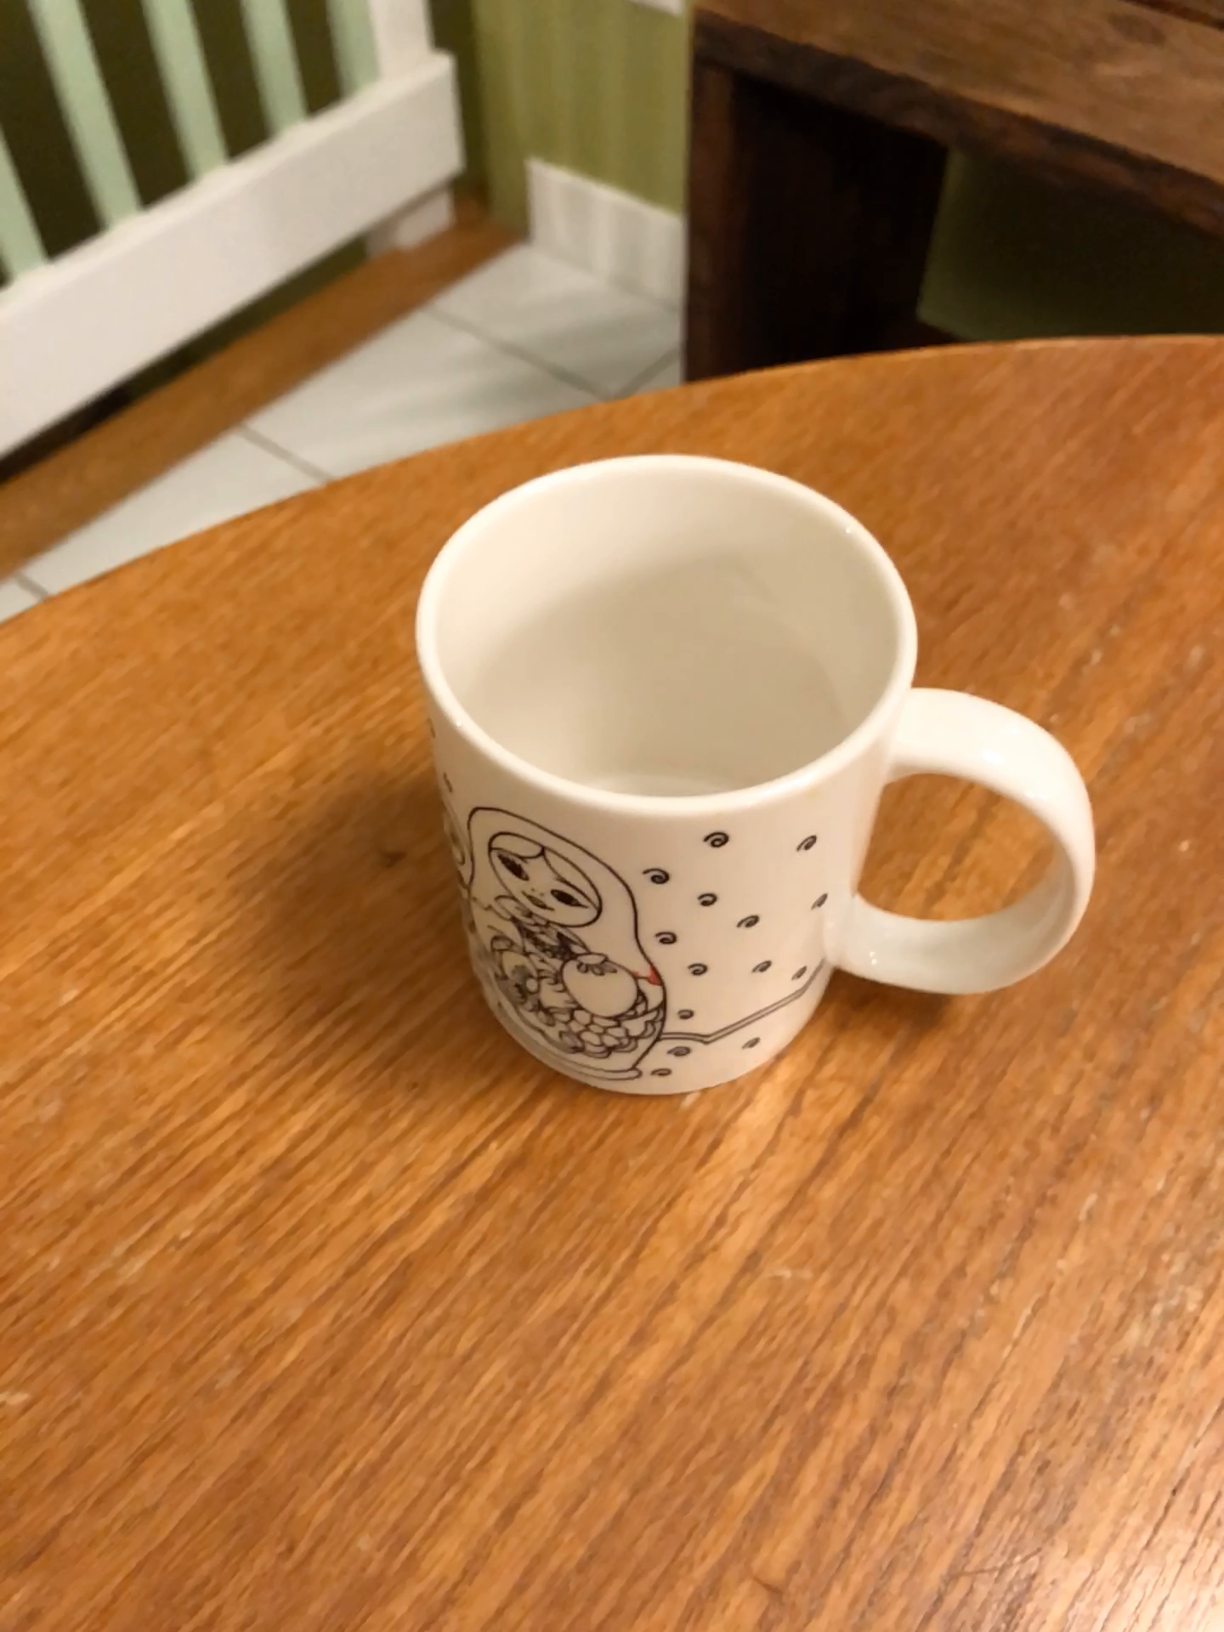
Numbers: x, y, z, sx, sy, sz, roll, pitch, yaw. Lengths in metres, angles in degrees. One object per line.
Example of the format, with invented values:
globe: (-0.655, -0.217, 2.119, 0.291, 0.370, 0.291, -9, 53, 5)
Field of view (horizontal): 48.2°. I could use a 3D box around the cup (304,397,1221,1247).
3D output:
cup: (0.028, 0.001, 0.259, 0.126, 0.099, 0.088, 17, 55, 13)
